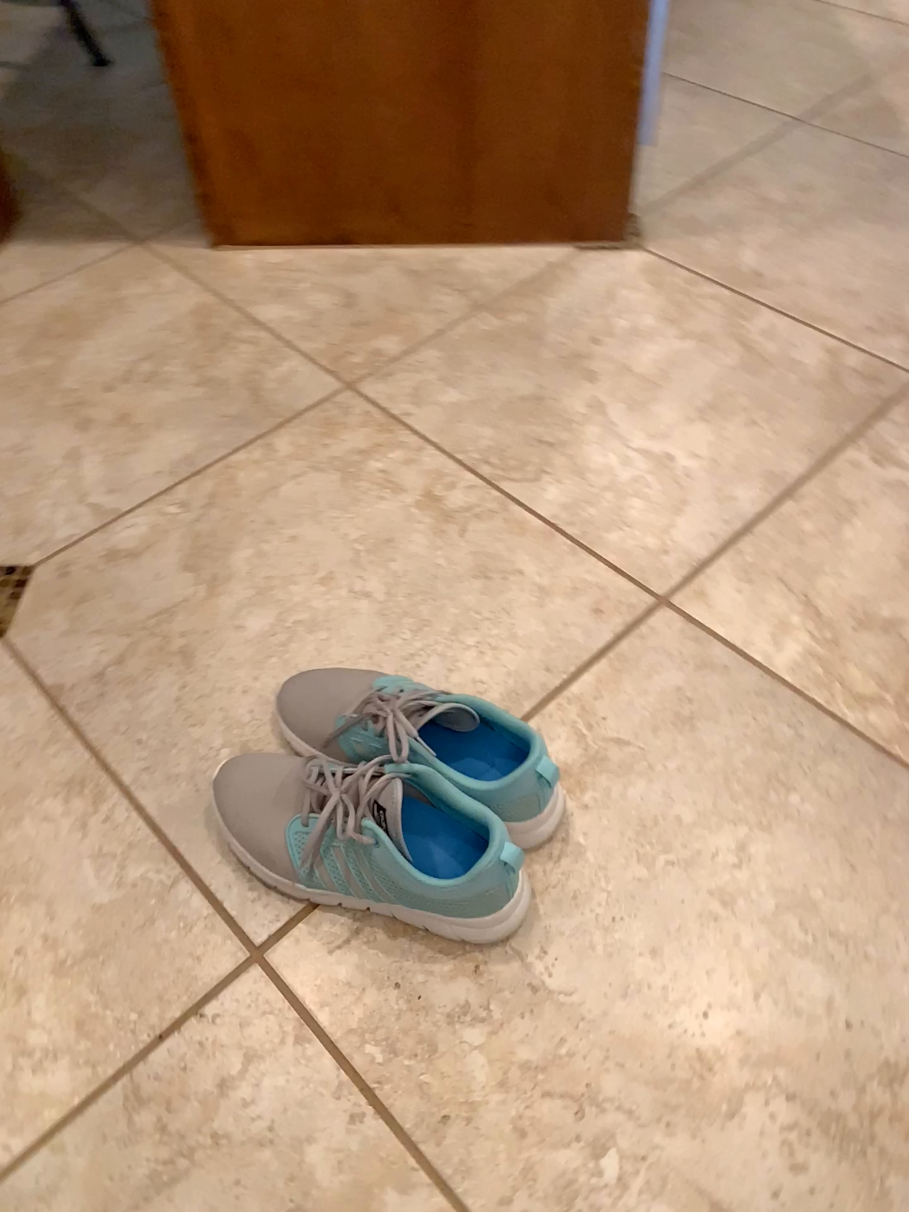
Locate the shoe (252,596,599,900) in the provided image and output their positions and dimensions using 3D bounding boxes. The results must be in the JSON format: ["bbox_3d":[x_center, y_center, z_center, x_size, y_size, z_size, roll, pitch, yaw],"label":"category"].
[{"bbox_3d":[-0.026,0.116,0.795,0.271,0.108,0.107,26,56,23],"label":"shoe"}]

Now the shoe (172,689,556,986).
[{"bbox_3d":[-0.068,0.180,0.740,0.271,0.108,0.107,17,53,17],"label":"shoe"}]
